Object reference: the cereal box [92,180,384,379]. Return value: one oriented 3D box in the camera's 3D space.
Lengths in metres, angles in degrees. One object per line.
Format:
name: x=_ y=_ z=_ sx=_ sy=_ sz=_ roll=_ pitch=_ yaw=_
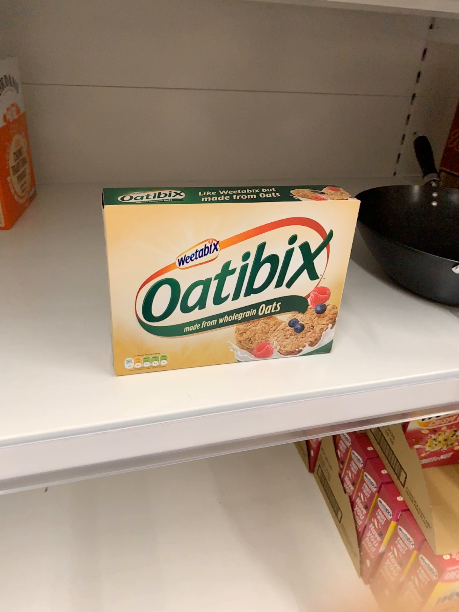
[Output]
cereal box: x=0.004 y=-0.032 z=0.494 sx=0.270 sy=0.178 sz=0.071 roll=-4 pitch=32 yaw=-15
